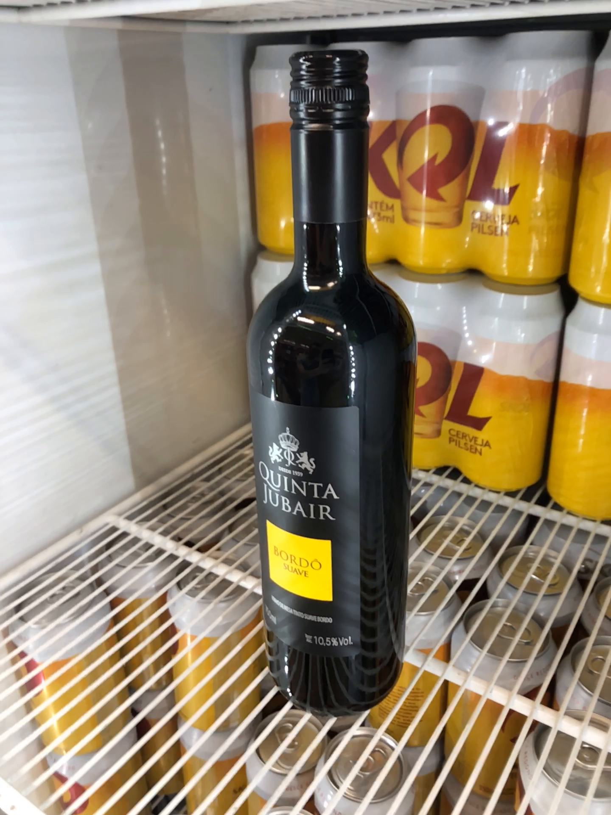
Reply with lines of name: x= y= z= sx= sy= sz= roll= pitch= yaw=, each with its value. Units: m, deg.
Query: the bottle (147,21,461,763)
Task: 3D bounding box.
bottle: x=0.006 y=0.005 z=0.289 sx=0.080 sy=0.288 sz=0.070 roll=14 pitch=30 yaw=32
